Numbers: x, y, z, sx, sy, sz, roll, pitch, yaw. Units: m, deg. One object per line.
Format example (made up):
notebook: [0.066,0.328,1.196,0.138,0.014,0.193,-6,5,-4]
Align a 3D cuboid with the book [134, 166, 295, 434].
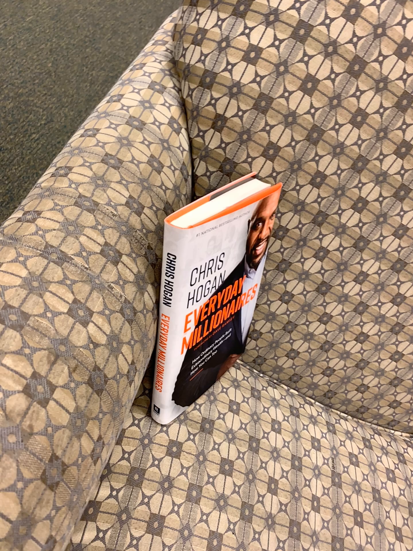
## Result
book: [0.003,0.027,0.435,0.038,0.244,0.161,31,40,28]
